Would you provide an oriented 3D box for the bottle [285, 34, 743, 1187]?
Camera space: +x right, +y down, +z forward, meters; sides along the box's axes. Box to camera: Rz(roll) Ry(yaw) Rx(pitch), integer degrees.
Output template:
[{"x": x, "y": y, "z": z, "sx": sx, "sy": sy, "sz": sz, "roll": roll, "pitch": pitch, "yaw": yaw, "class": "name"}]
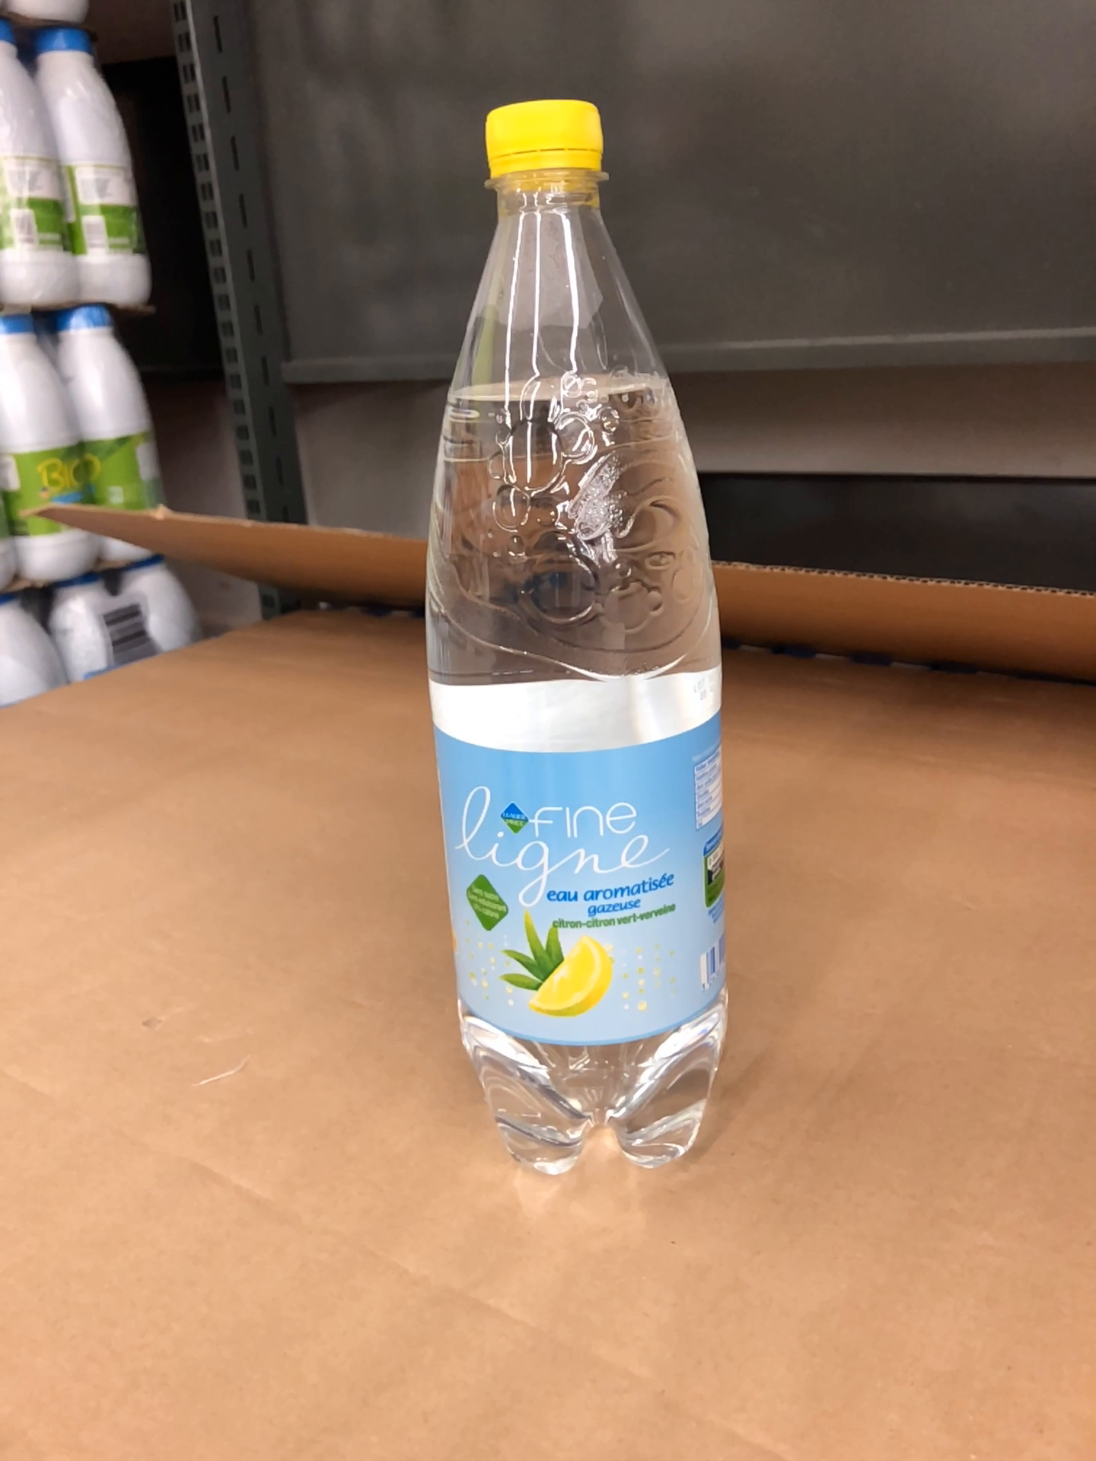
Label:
[{"x": 0.004, "y": -0.021, "z": 0.343, "sx": 0.090, "sy": 0.289, "sz": 0.080, "roll": 0, "pitch": 19, "yaw": 12, "class": "bottle"}]
